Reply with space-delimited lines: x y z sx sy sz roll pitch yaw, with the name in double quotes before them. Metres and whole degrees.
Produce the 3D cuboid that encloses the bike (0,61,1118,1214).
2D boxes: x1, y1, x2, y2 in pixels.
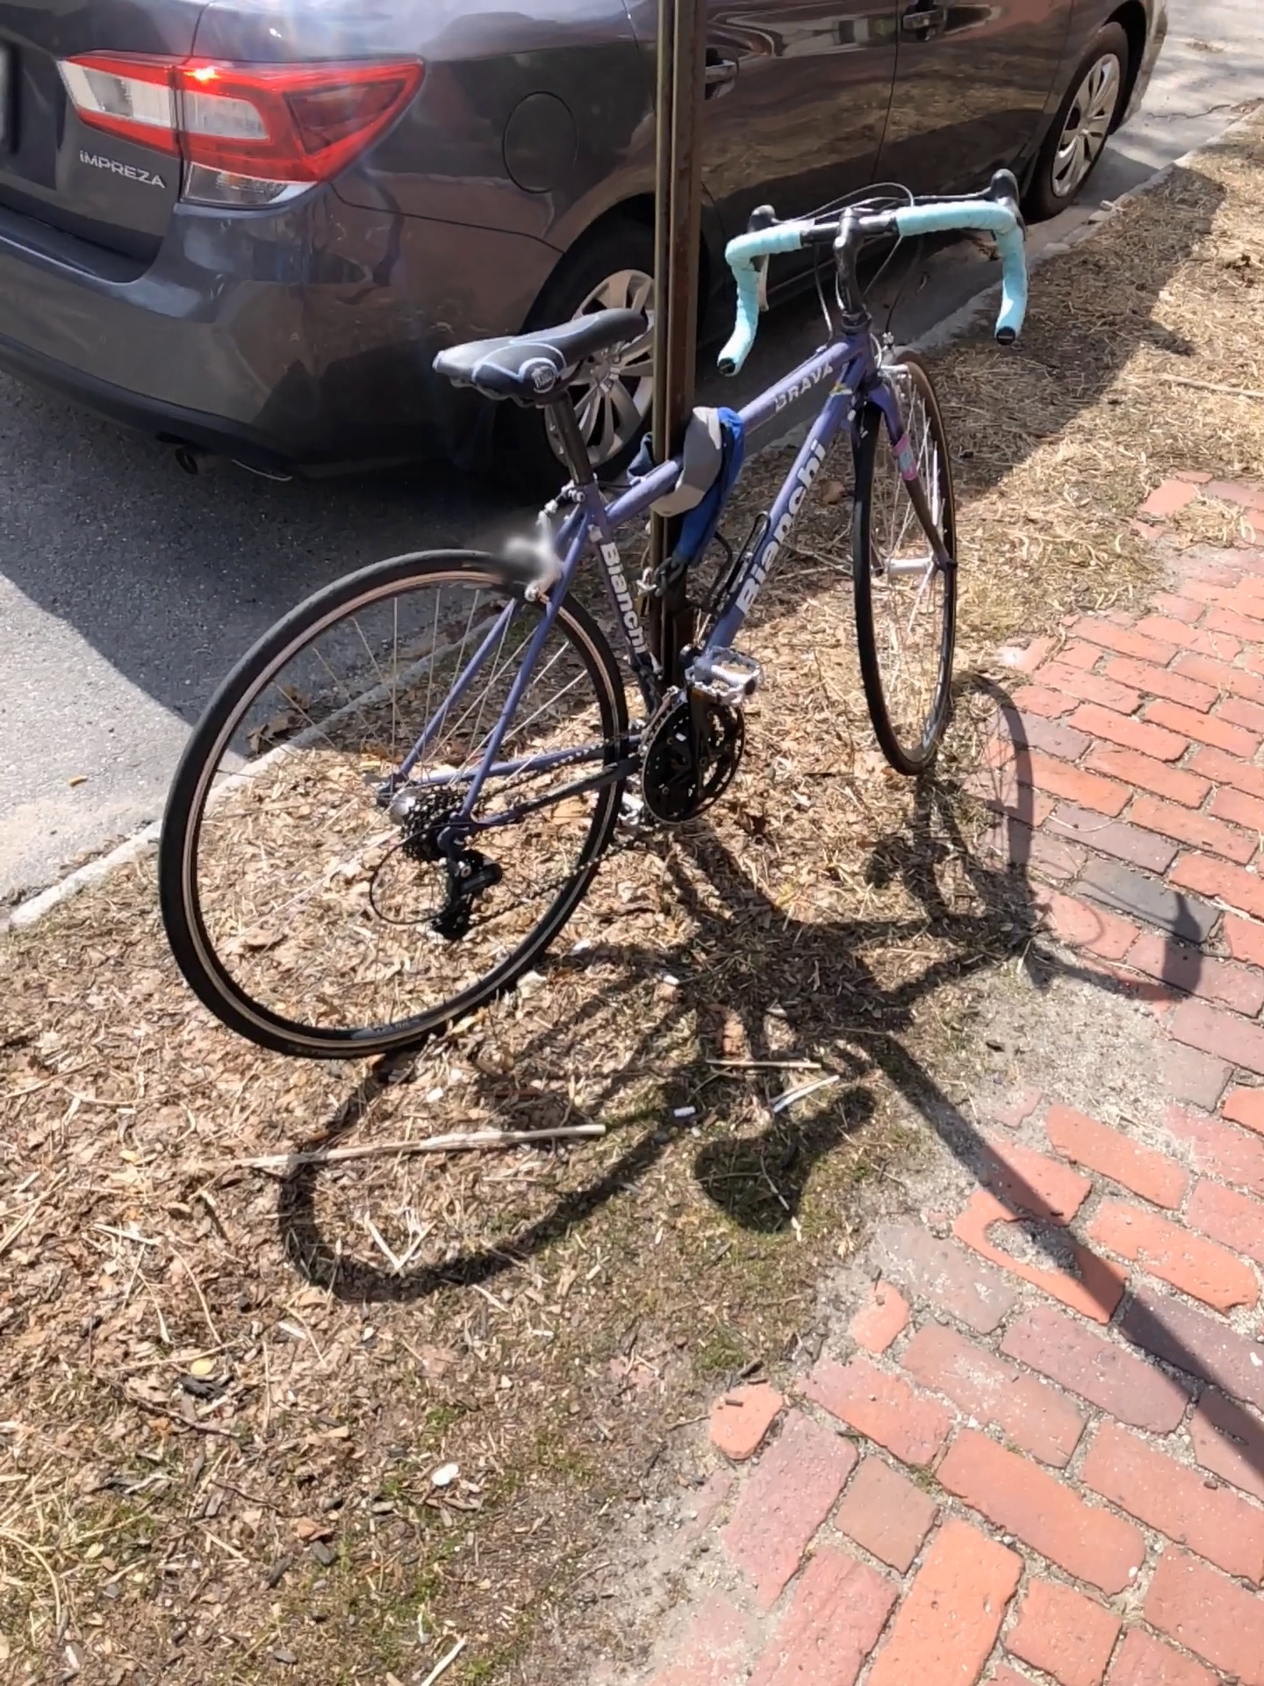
"bike" -0.014 -0.379 1.834 0.460 0.734 1.454 31 54 32
